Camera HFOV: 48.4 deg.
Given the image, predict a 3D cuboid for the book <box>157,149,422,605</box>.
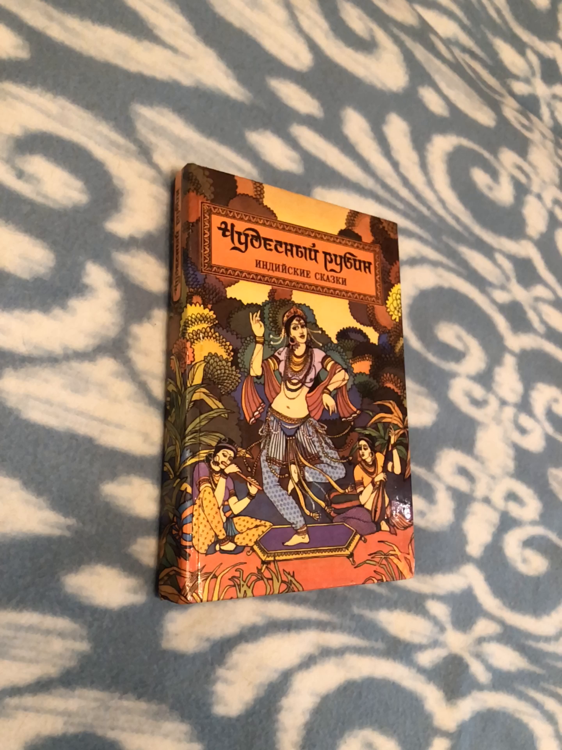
[{"bbox_3d":[0.010,0.003,0.331,0.140,0.027,0.210,6,77,-31],"label":"book"}]
